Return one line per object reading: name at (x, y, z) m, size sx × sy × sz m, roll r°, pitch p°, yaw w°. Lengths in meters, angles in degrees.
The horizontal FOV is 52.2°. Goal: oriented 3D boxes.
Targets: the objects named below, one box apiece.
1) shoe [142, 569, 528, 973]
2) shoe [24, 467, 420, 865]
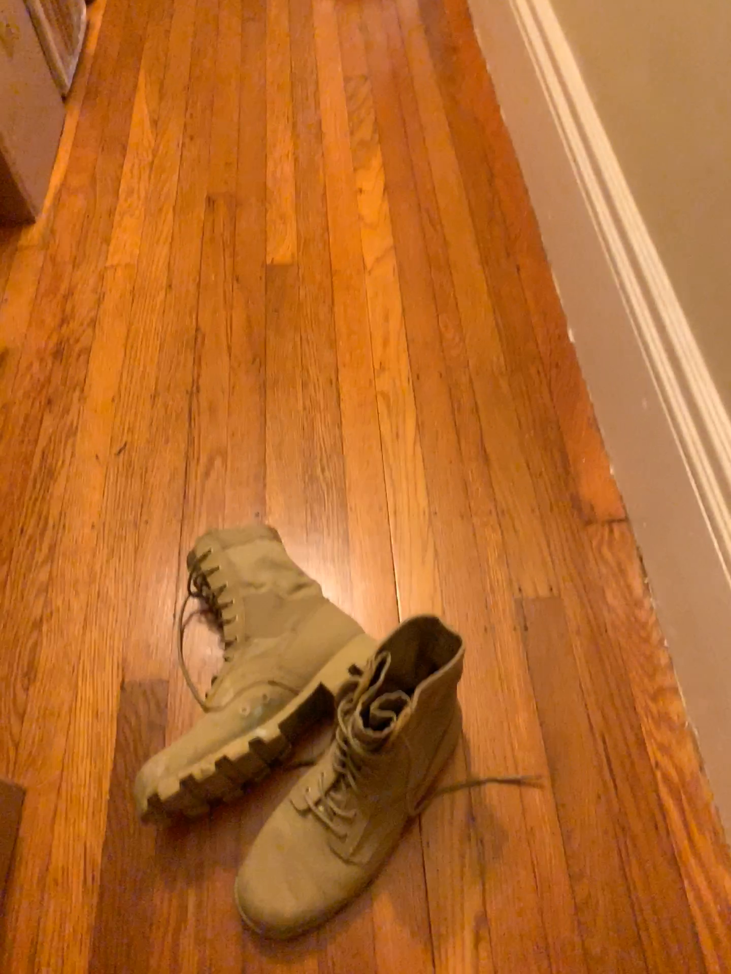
shoe at (-0.011, 0.249, 0.644) m, size 0.120 × 0.199 × 0.290 m, roll 38°, pitch 66°, yaw 24°
shoe at (-0.141, 0.165, 0.773) m, size 0.290 × 0.110 × 0.261 m, roll -40°, pitch 57°, yaw -21°
